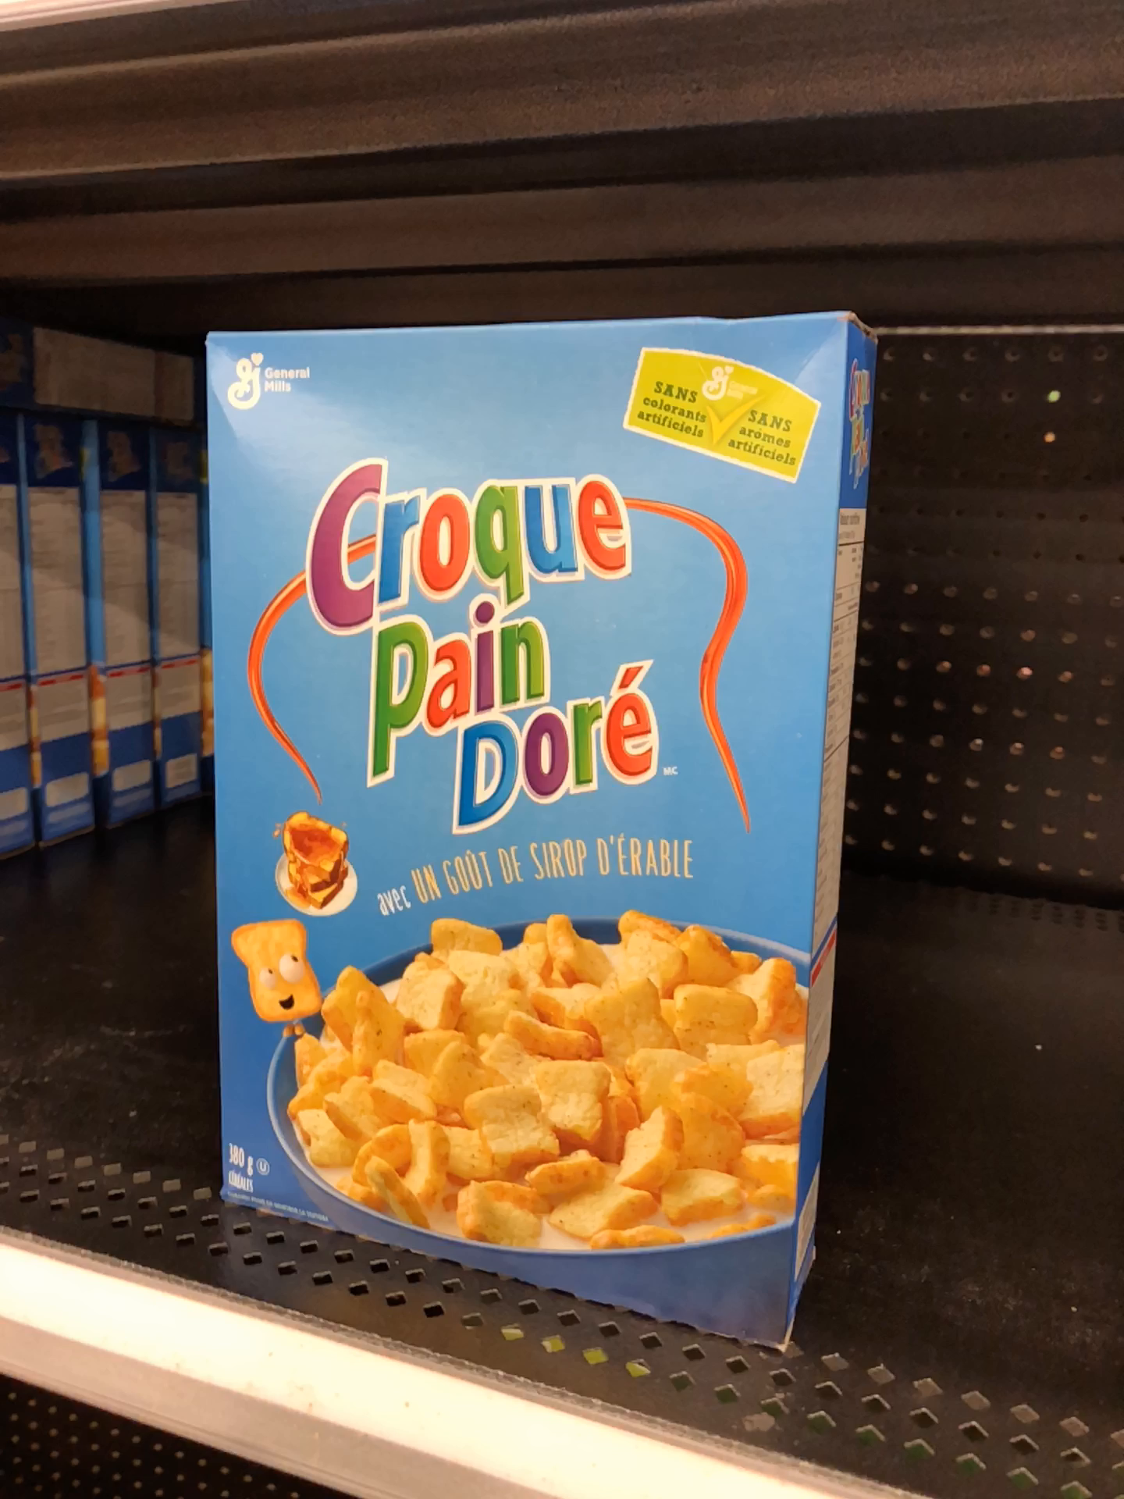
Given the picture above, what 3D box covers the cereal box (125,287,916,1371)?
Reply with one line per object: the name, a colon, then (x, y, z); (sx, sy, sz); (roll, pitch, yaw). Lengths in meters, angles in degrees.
cereal box: (-0.020, 0.015, 0.359); (0.210, 0.269, 0.050); (6, 11, 20)
